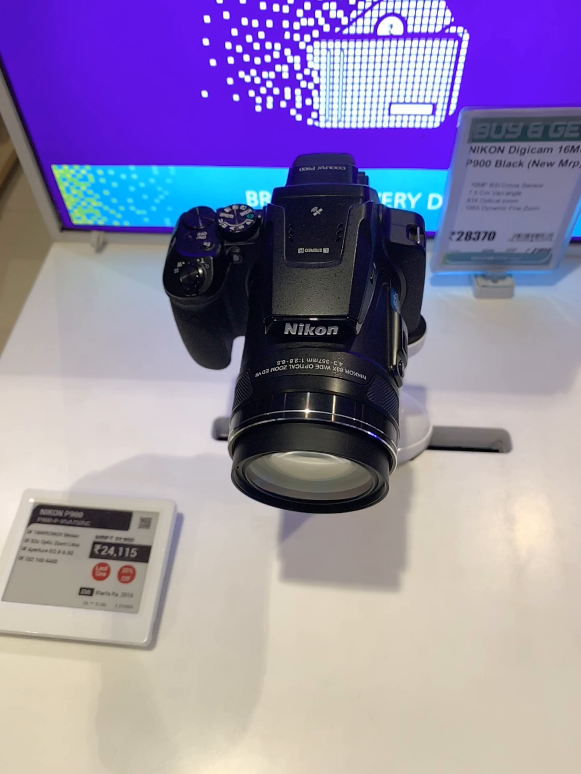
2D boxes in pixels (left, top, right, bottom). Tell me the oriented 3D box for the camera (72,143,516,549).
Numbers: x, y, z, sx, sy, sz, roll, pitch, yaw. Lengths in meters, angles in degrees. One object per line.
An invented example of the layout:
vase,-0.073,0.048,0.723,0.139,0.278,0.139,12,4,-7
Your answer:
camera,0.005,-0.024,0.274,0.140,0.090,0.160,2,52,3
